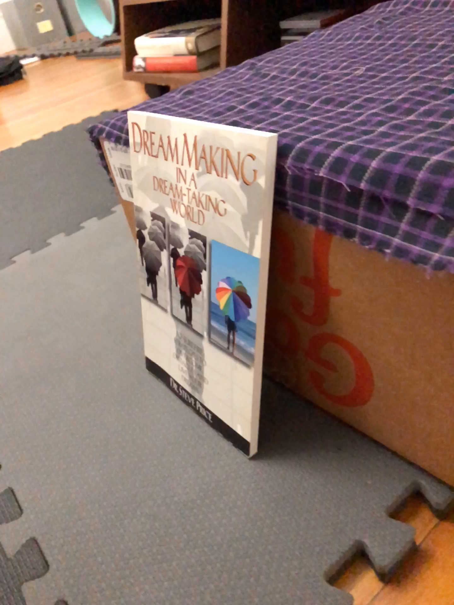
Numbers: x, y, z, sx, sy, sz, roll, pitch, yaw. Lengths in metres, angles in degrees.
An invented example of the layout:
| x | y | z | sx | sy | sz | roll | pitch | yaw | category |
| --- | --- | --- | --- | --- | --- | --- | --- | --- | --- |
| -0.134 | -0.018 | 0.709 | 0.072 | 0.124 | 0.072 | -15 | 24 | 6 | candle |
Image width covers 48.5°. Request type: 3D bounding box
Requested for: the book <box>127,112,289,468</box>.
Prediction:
| x | y | z | sx | sy | sz | roll | pitch | yaw | category |
| --- | --- | --- | --- | --- | --- | --- | --- | --- | --- |
| -0.020 | -0.014 | 0.361 | 0.020 | 0.219 | 0.151 | -17 | 30 | -32 | book |
